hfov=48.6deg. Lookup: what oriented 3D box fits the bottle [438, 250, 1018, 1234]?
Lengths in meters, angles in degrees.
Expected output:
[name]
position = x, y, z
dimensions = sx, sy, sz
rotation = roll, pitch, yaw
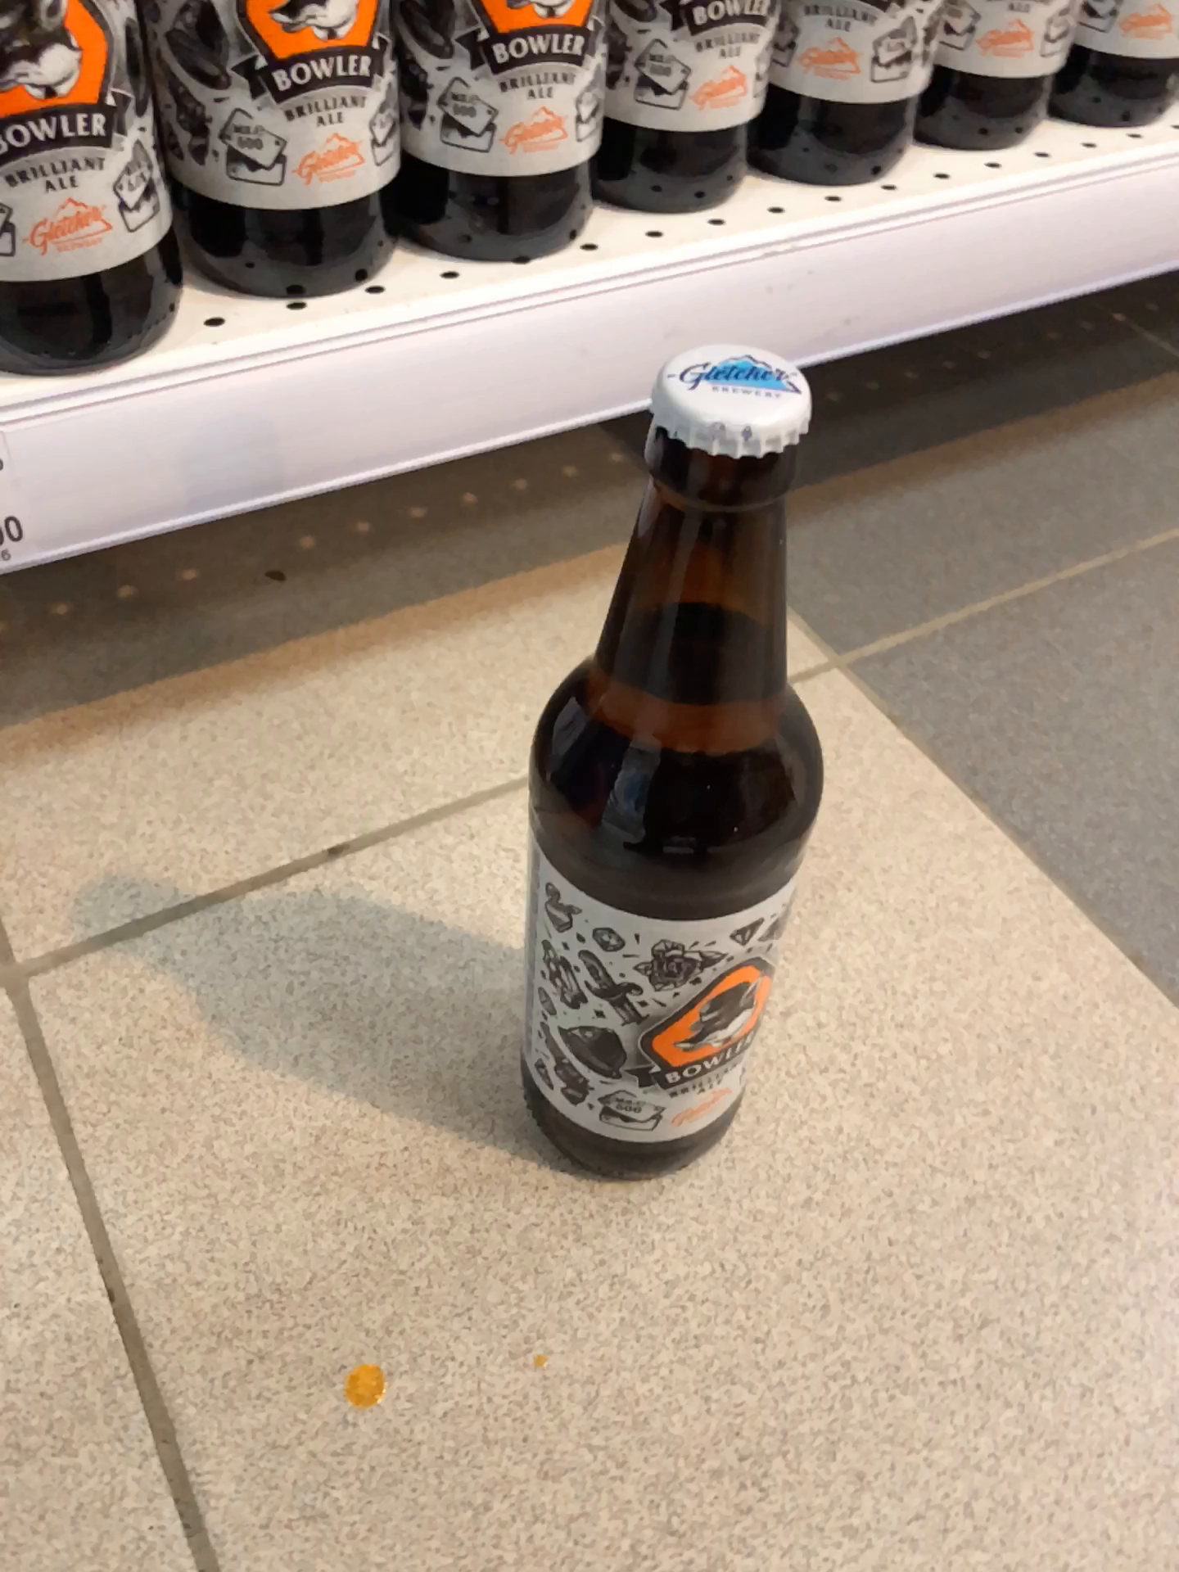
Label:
[bottle]
position = 0.017, 0.009, 0.315
dimensions = 0.075, 0.239, 0.070
rotation = 2, 47, -2
